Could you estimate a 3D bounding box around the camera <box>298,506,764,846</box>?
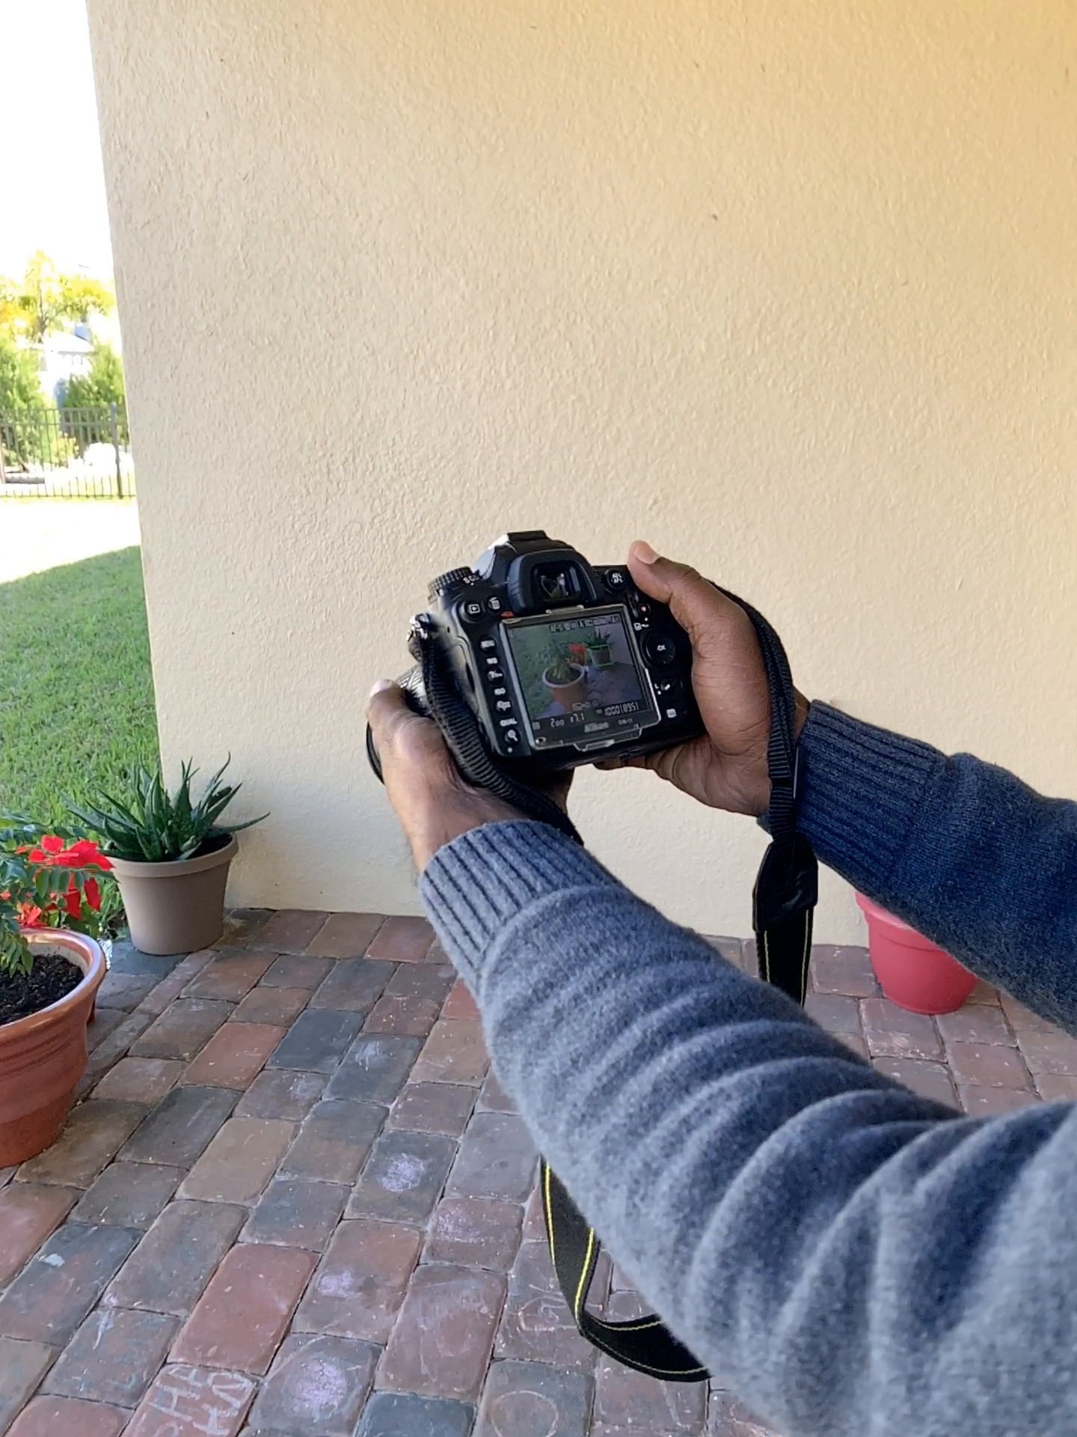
[{"bbox_3d":[-0.016,-0.015,0.548,0.130,0.101,0.199,-11,-8,-32],"label":"camera"}]
